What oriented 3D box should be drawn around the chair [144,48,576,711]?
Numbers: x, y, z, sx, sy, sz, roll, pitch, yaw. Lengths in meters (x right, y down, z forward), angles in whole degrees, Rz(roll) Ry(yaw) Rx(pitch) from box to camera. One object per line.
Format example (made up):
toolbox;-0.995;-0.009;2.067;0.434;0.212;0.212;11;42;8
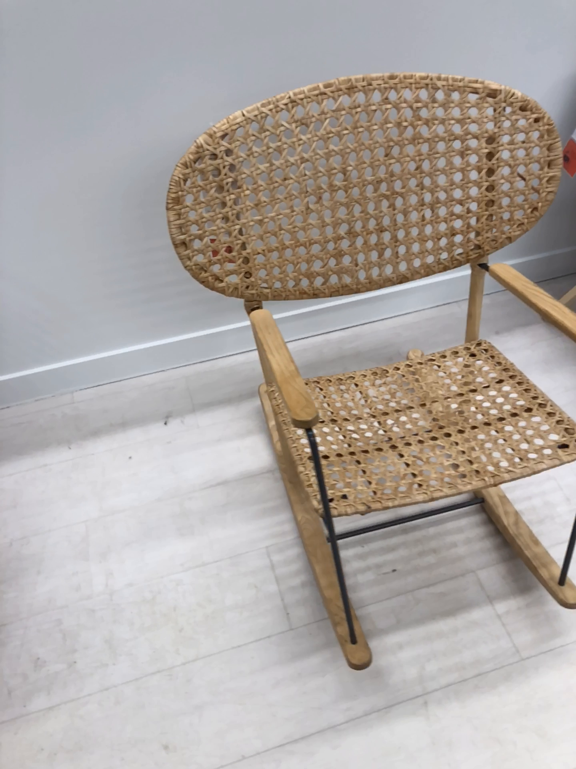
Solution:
chair;0.250;-0.039;1.247;0.830;0.787;0.853;-11;48;-8
